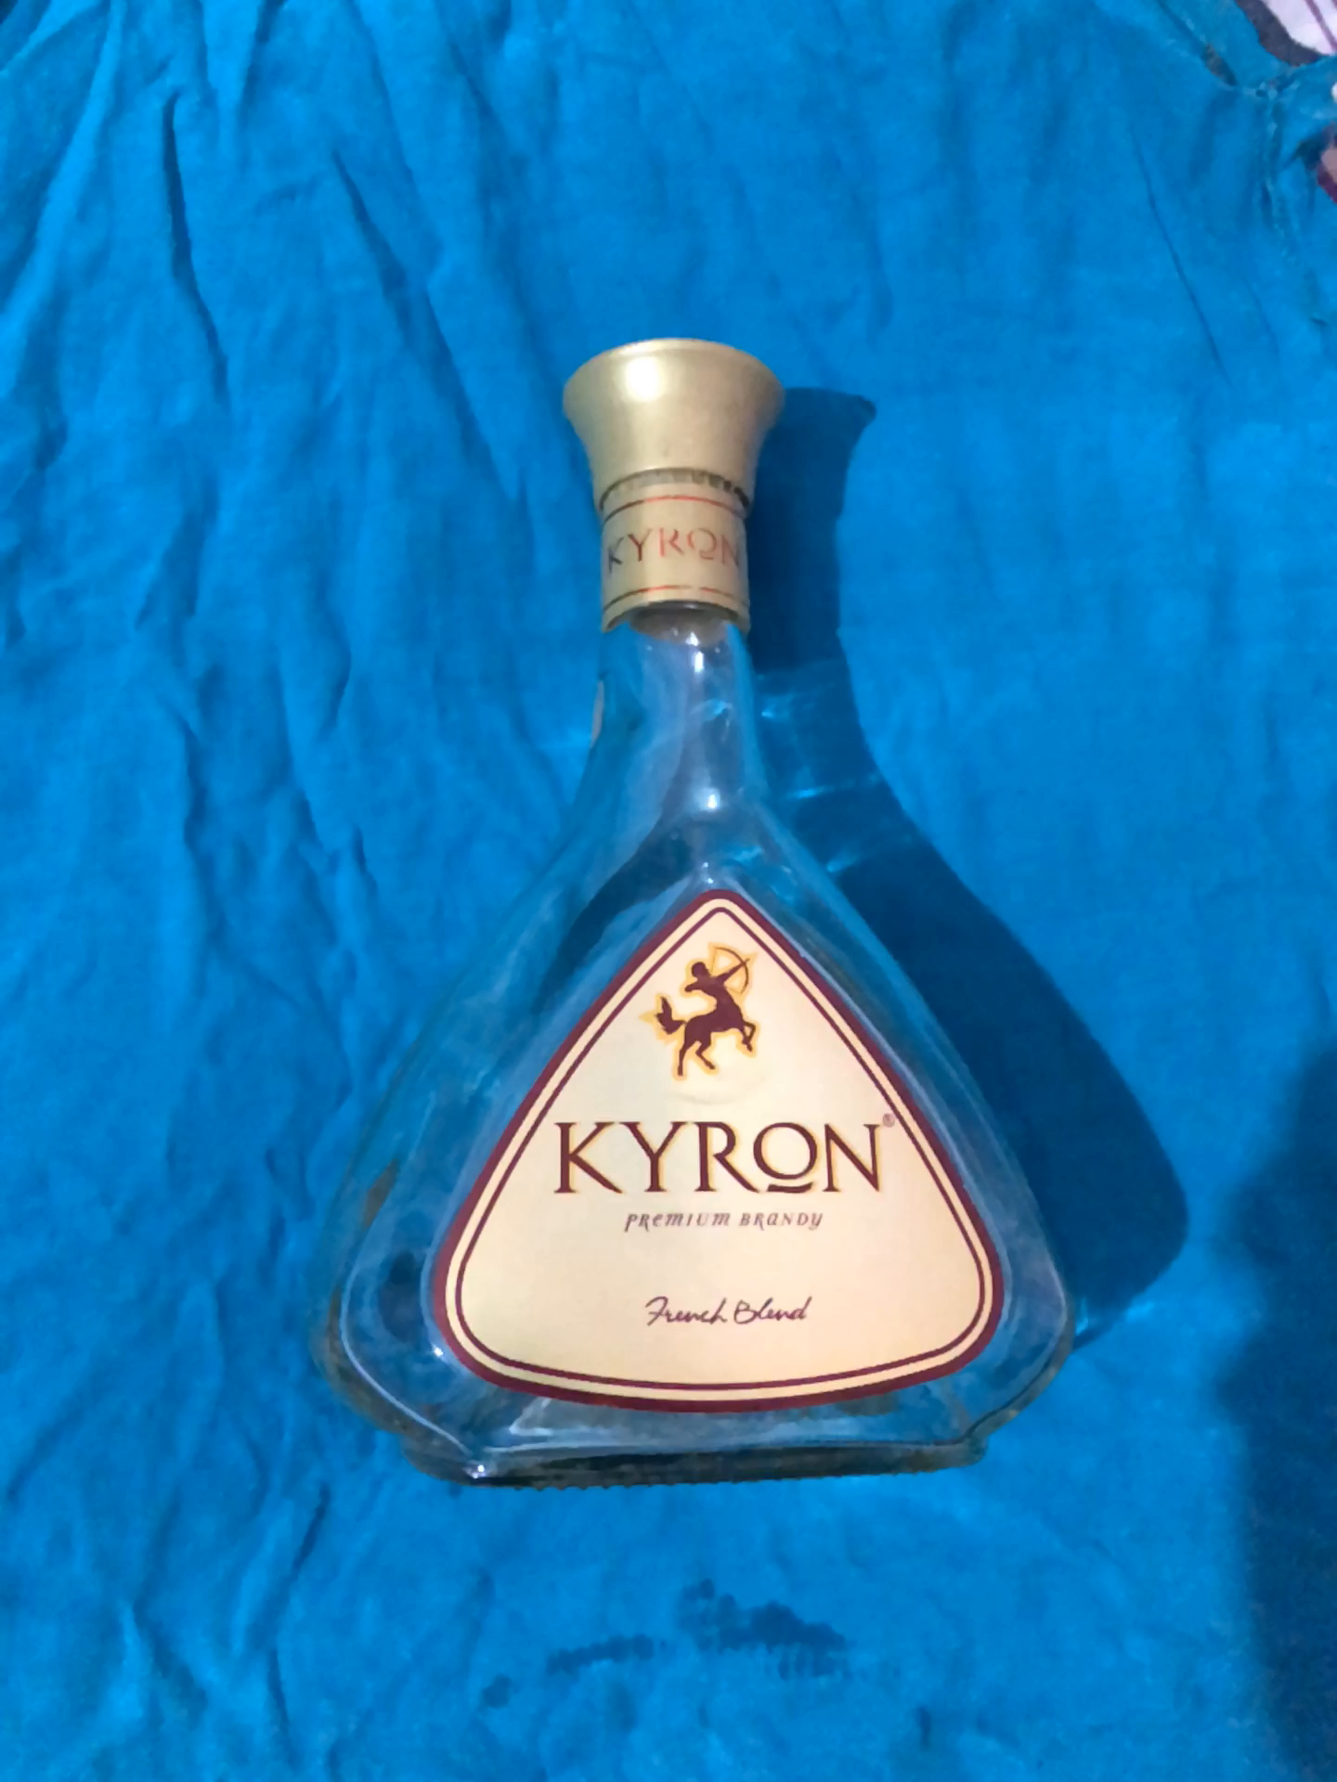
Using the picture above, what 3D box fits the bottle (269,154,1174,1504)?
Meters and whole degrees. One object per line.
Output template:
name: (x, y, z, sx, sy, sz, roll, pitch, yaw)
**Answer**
bottle: (0.006, -0.013, 0.305, 0.150, 0.080, 0.240, 0, 80, -5)
